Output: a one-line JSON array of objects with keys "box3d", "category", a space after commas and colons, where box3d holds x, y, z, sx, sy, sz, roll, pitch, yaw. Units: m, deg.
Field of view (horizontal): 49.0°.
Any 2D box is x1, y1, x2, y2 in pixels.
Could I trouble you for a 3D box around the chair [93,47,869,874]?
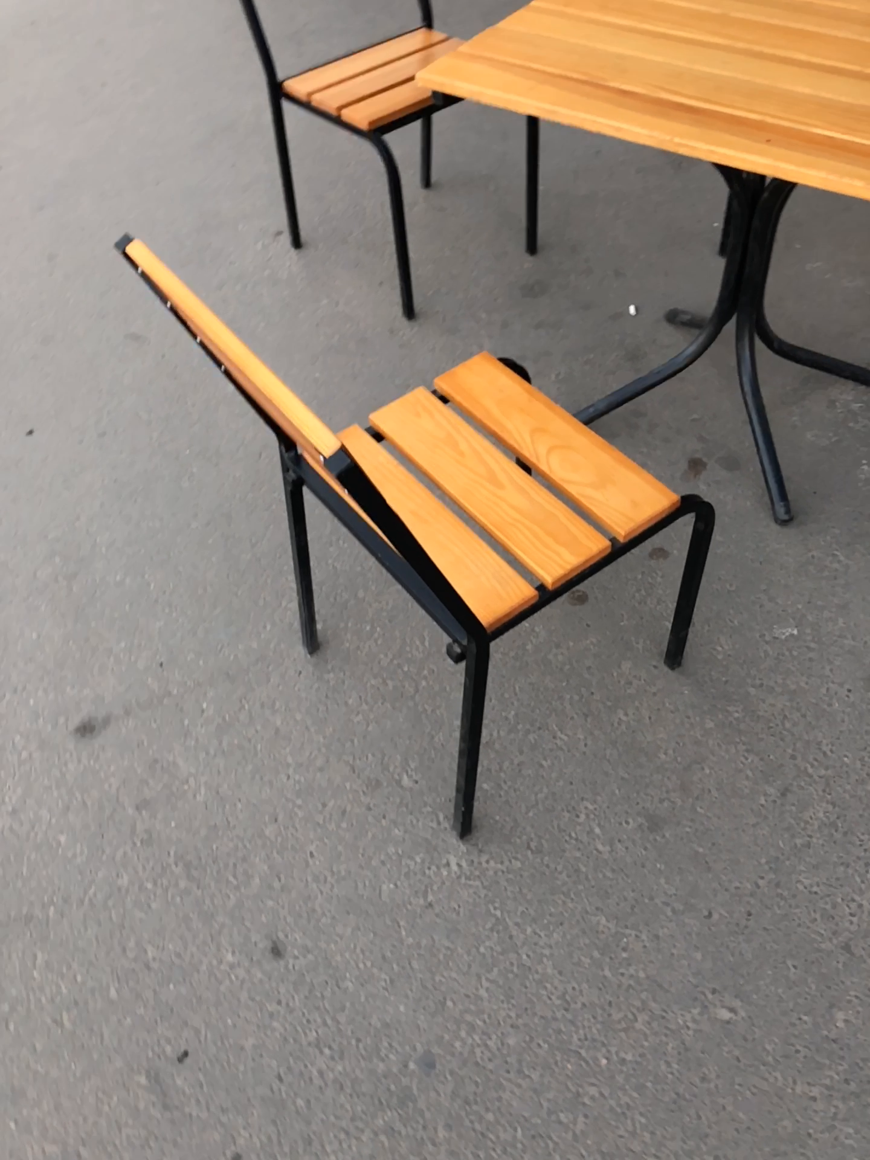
[{"box3d": [0.056, -0.136, 1.120, 0.551, 0.638, 0.491, -30, 53, -19], "category": "chair"}]
